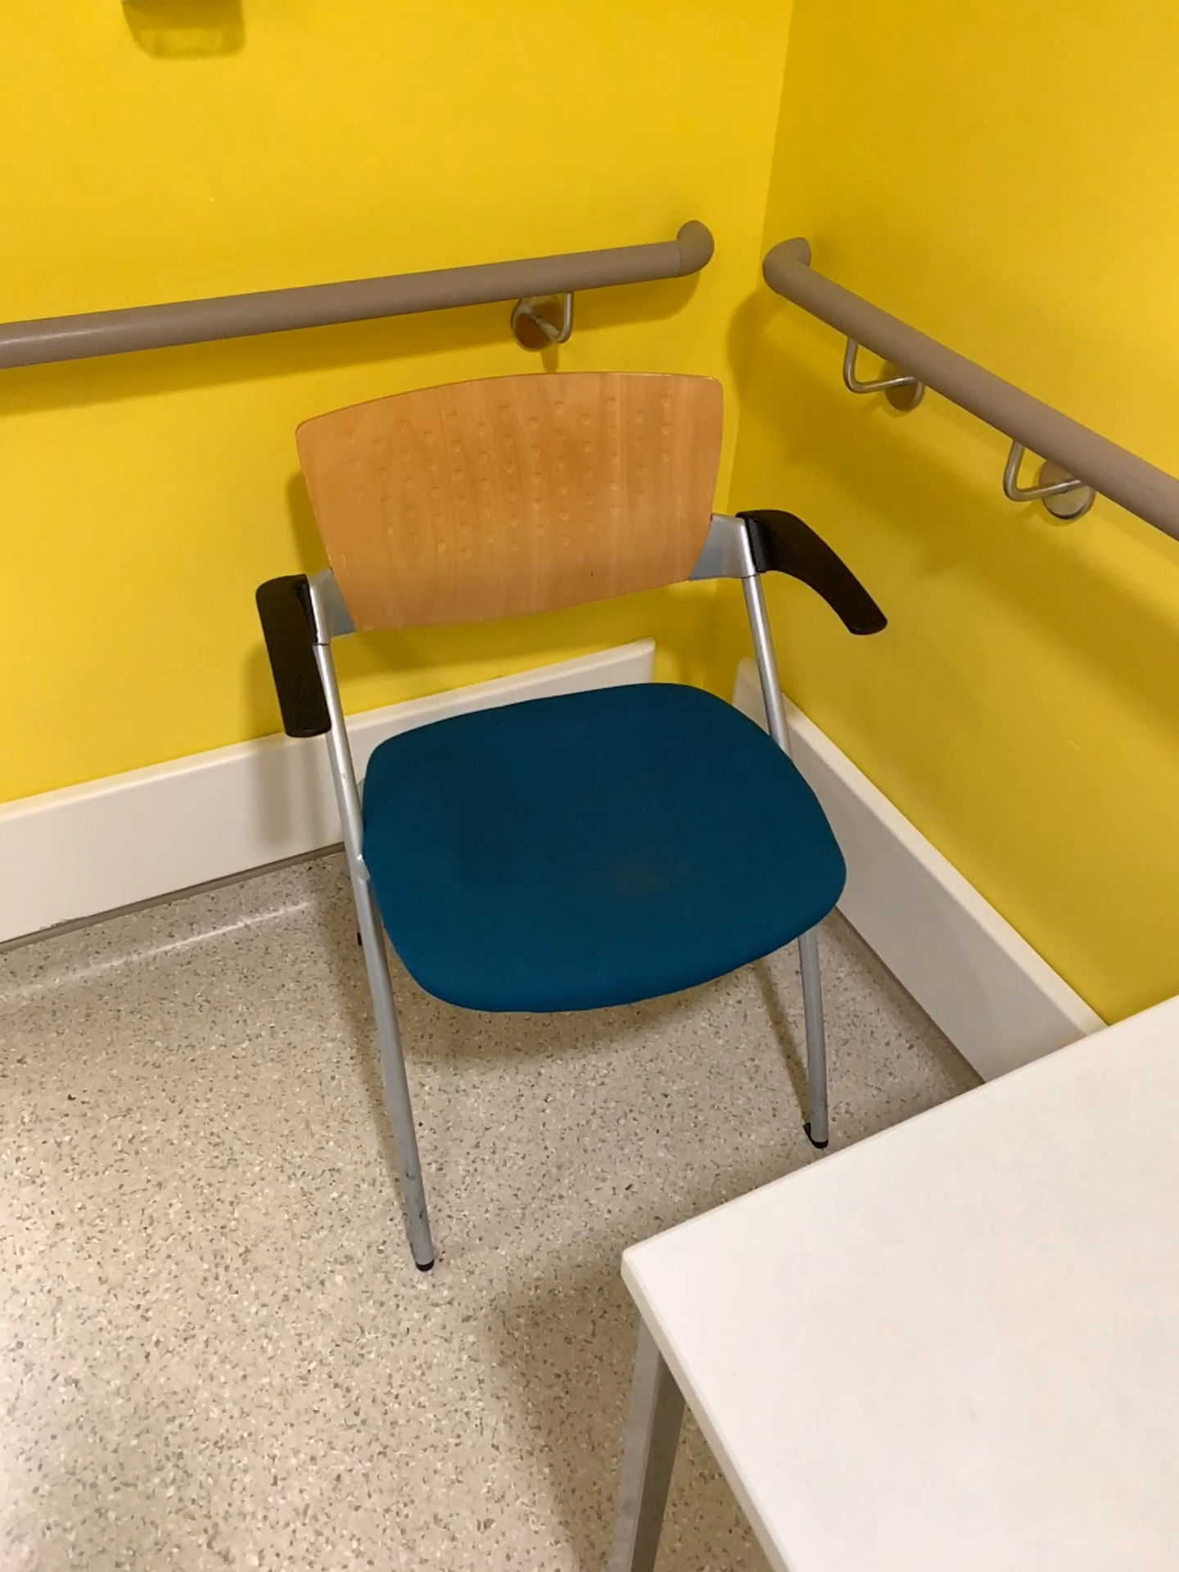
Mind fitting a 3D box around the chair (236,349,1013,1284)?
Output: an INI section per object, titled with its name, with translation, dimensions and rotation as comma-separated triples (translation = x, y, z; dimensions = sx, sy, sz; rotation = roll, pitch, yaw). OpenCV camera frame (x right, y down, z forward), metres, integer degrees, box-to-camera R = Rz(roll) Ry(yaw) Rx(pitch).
[chair]
translation = -0.027, 0.022, 1.365
dimensions = 0.570, 0.779, 0.594
rotation = -10, 41, -14
